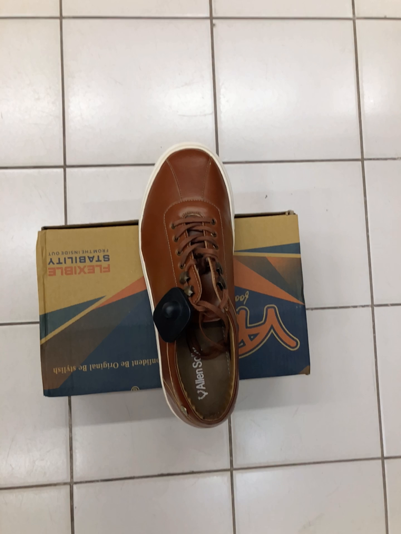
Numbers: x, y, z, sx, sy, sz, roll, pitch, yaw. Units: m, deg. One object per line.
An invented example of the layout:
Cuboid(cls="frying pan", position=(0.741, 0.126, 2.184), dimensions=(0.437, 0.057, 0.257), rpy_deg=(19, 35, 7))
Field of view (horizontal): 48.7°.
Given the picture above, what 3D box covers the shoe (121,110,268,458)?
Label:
Cuboid(cls="shoe", position=(-0.009, 0.012, 0.420), dimensions=(0.100, 0.110, 0.280), rpy_deg=(-4, 87, -5))
